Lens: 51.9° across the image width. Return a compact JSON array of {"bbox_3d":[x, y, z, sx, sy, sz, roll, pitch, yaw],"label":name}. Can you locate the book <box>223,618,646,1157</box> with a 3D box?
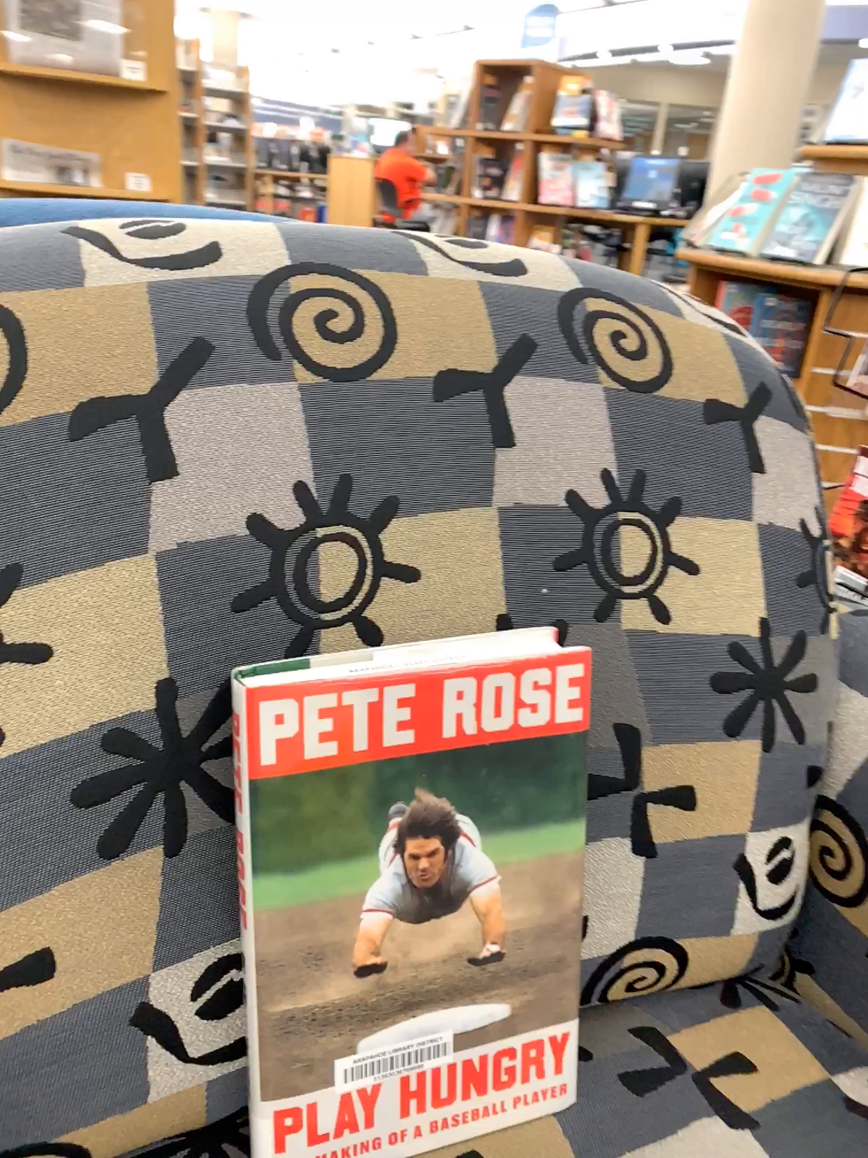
[{"bbox_3d":[0.003,0.152,0.425,0.190,0.249,0.040,-3,11,-21],"label":"book"}]
